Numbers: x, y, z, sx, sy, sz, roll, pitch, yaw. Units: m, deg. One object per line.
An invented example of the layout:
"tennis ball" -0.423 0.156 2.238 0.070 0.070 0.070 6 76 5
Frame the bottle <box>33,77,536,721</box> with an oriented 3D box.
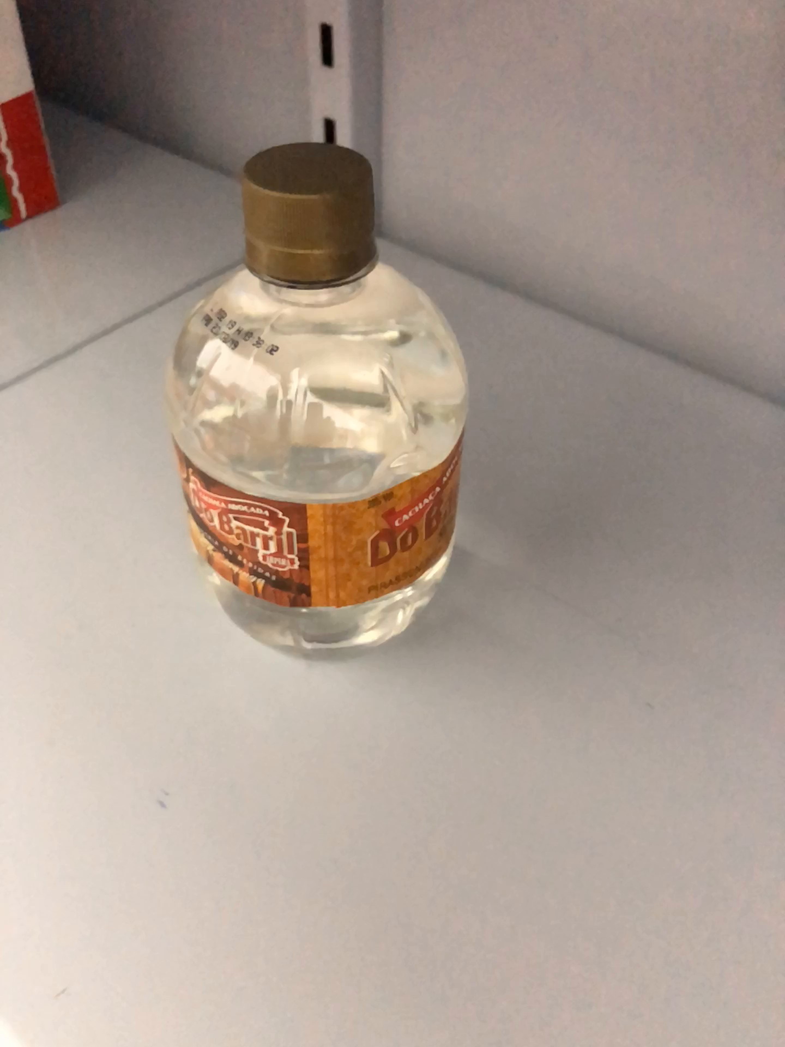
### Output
"bottle" -0.022 -0.031 0.245 0.080 0.139 0.080 1 45 -1
